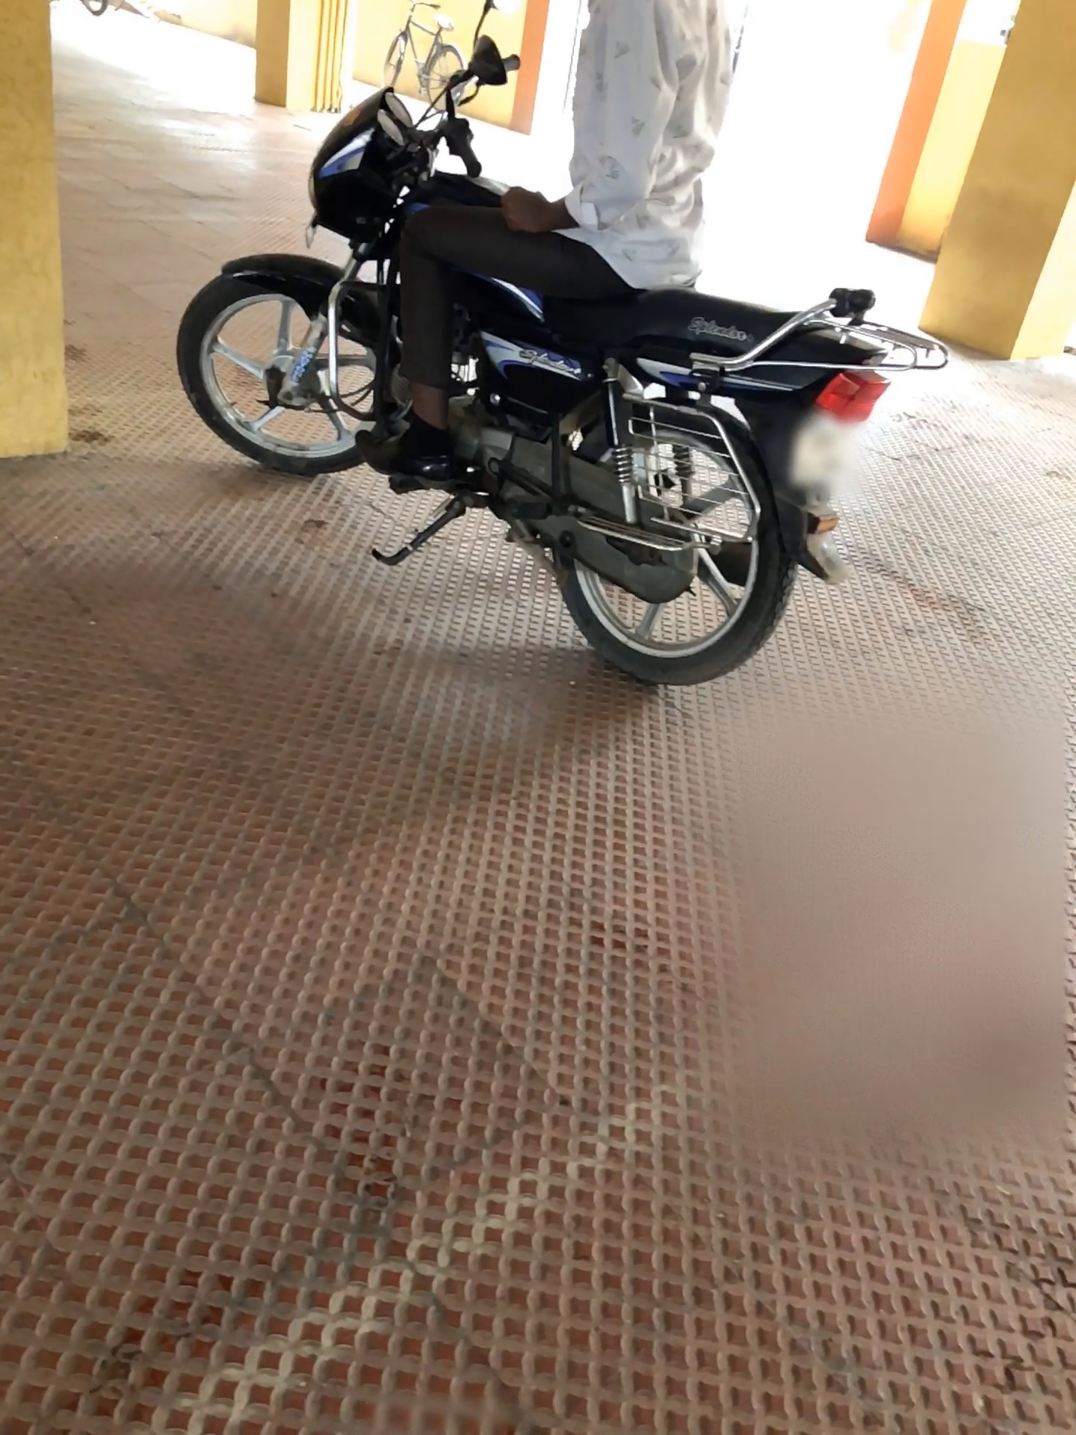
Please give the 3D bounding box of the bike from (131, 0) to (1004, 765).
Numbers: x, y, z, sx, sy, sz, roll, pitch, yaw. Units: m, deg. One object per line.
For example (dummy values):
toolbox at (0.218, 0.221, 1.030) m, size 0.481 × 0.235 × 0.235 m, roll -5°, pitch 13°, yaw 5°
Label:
bike at (-0.057, -0.882, 2.660) m, size 1.707 × 1.107 × 0.688 m, roll 29°, pitch 35°, yaw 24°
